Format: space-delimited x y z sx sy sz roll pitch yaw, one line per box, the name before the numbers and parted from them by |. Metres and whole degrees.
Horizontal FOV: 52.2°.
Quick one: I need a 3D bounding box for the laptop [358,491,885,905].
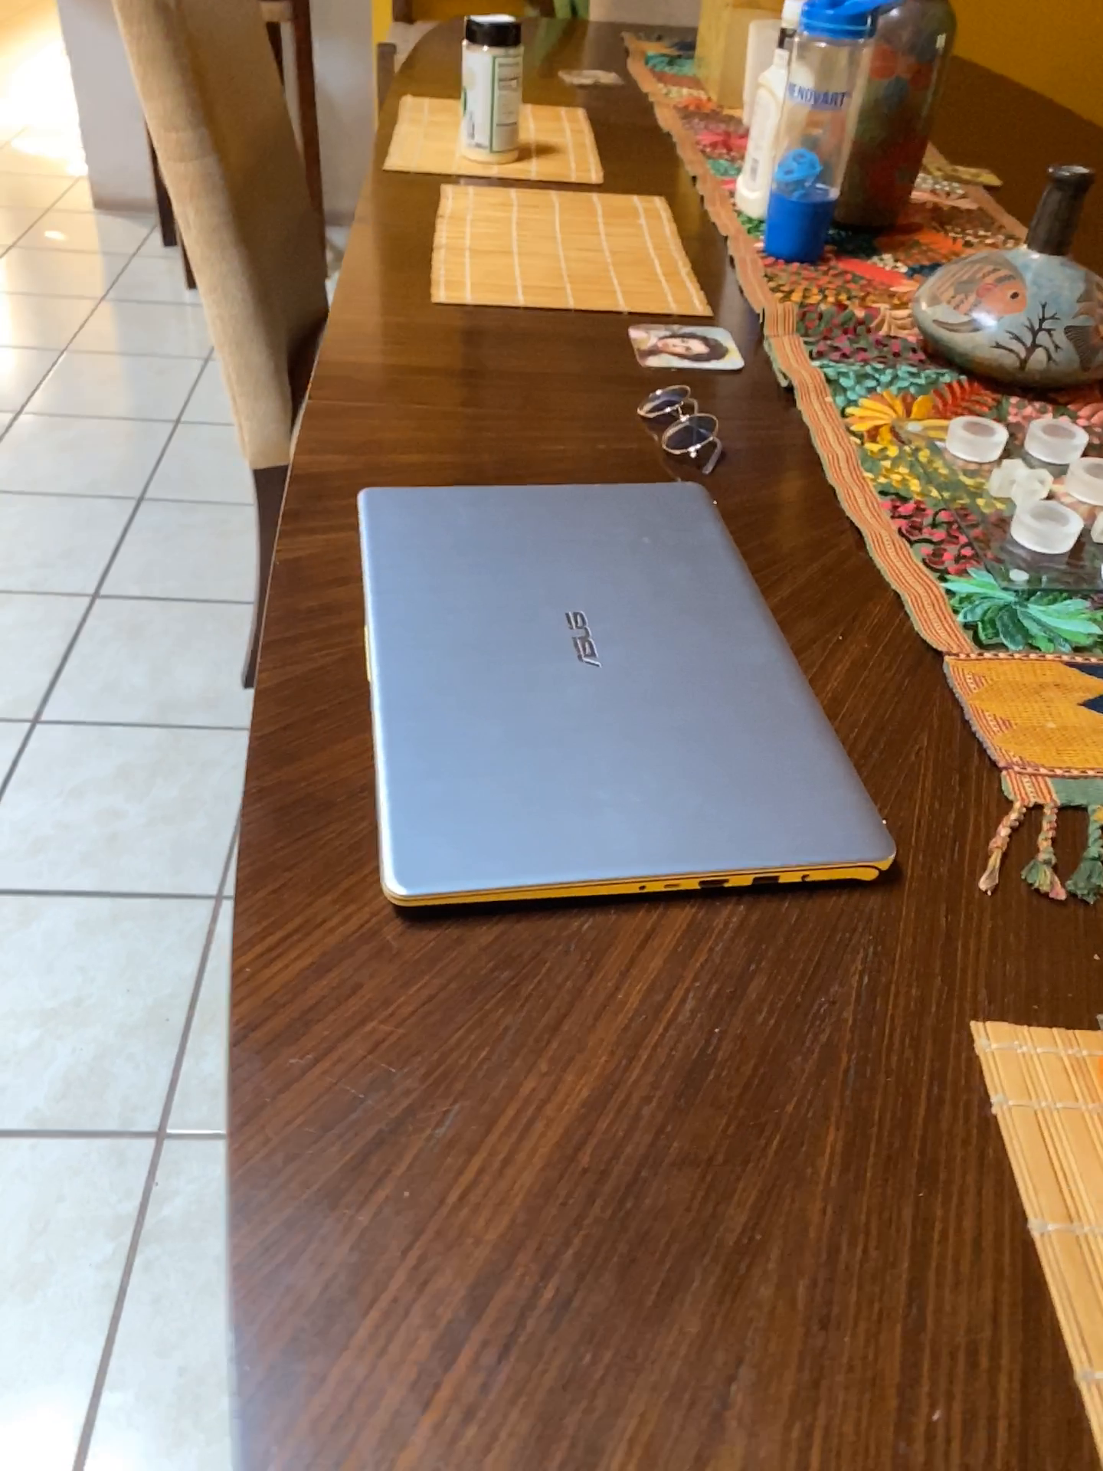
laptop | 0.015 -0.053 0.693 0.246 0.001 0.385 -3 42 -10
